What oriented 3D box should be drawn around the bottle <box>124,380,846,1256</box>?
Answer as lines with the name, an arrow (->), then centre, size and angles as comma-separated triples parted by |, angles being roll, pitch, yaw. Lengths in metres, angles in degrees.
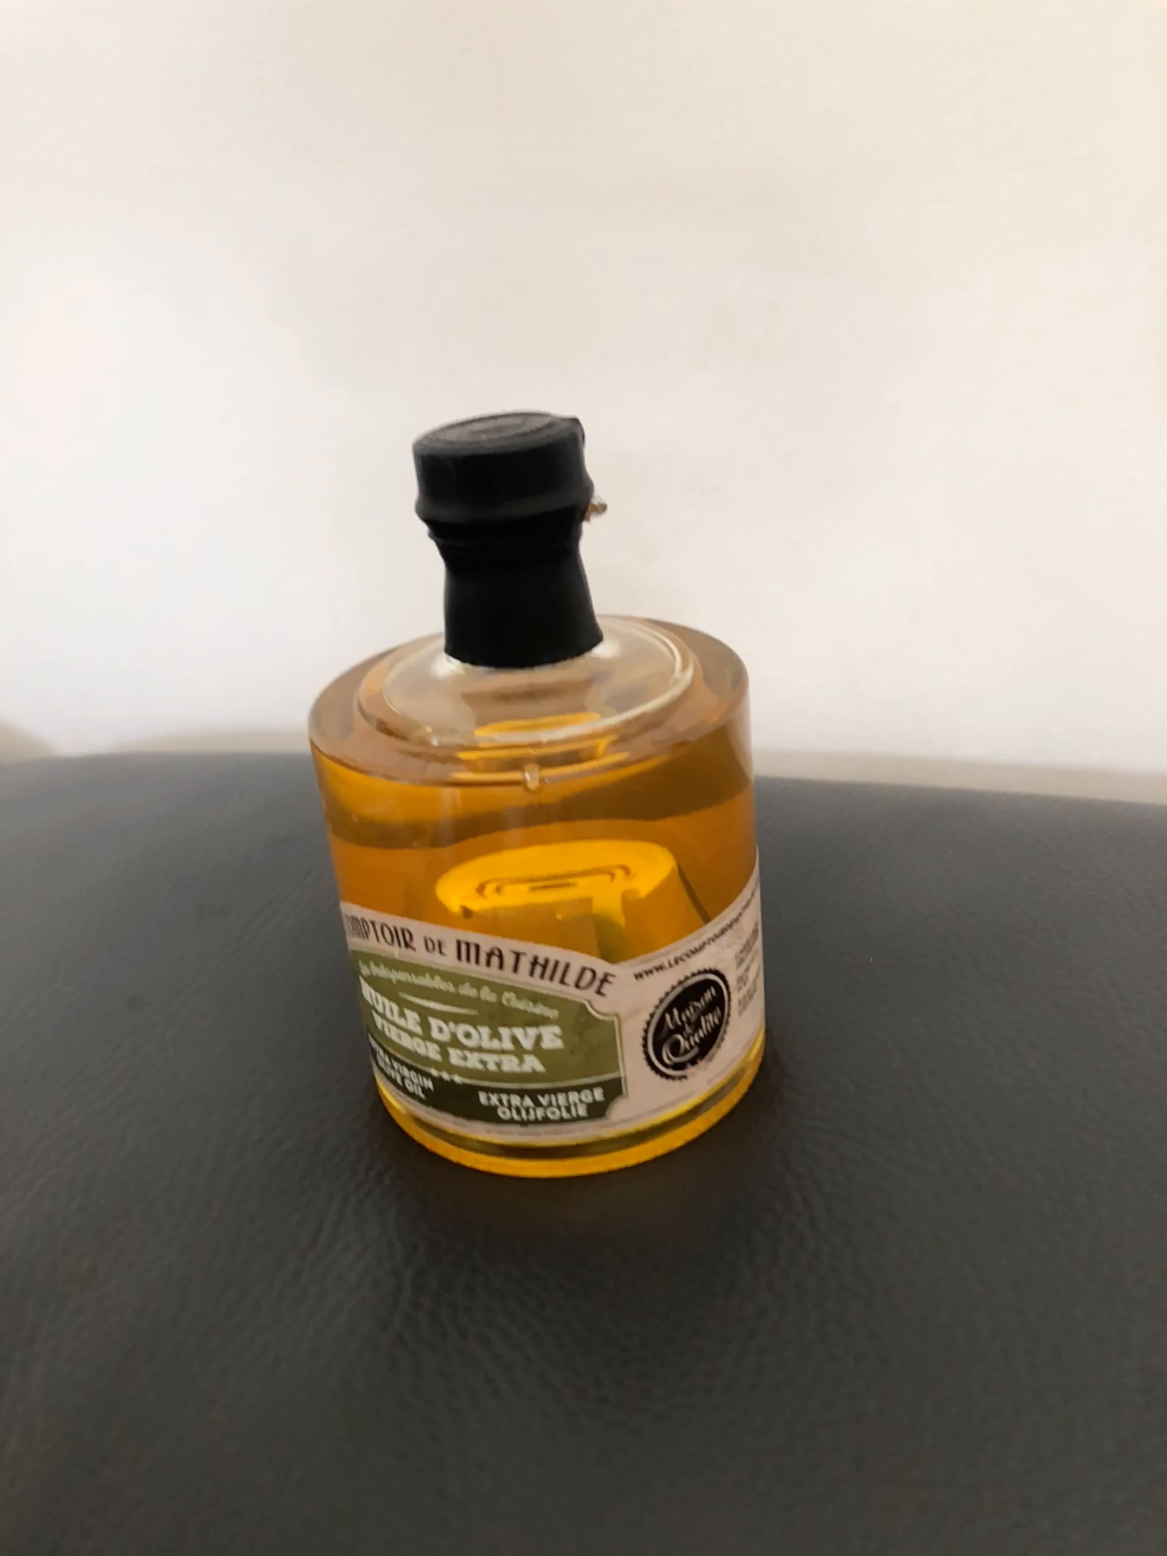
bottle -> -0.009, -0.002, 0.252 | 0.090, 0.129, 0.091 | -3, 25, 2
